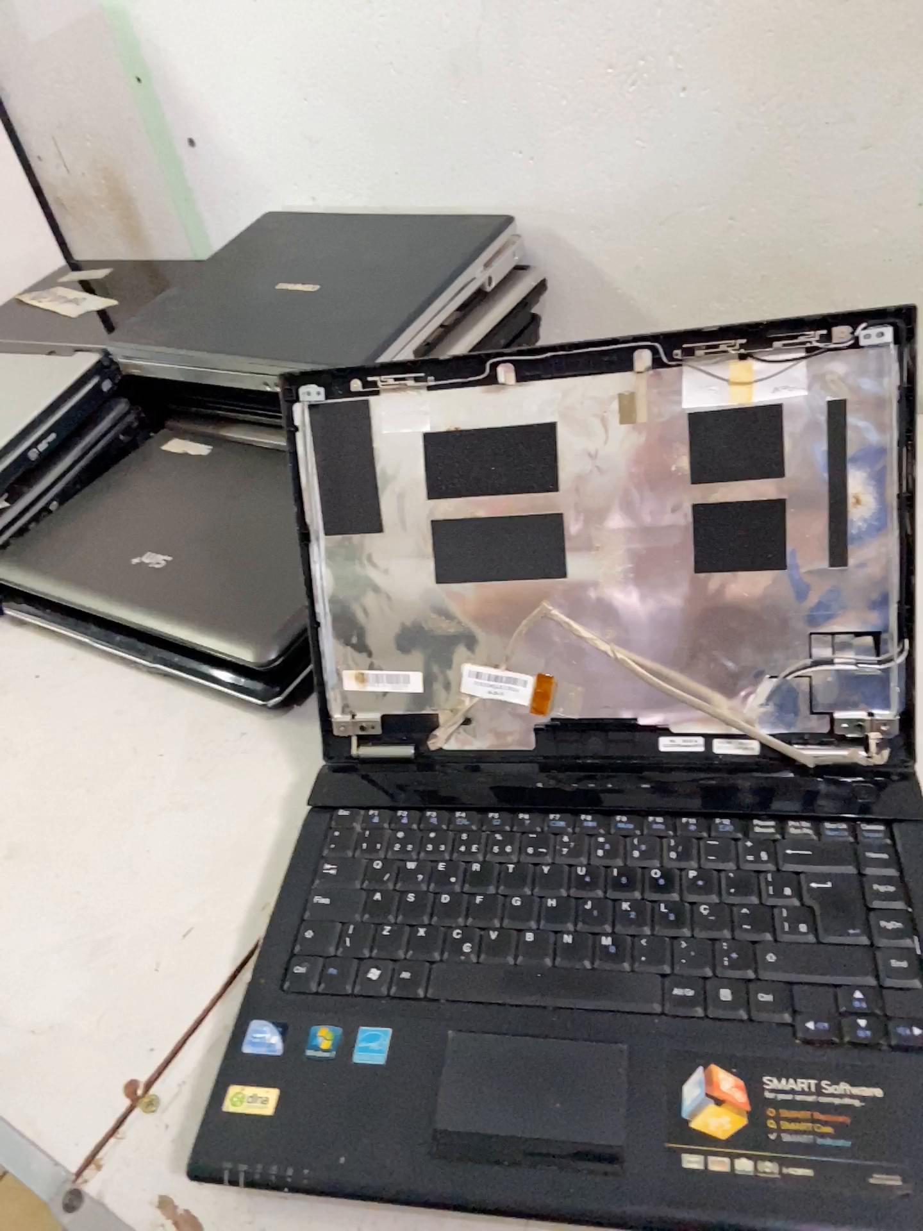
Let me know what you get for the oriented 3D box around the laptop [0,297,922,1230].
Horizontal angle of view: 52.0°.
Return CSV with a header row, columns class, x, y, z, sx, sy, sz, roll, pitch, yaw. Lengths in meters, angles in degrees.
class,x,y,z,sx,sy,sz,roll,pitch,yaw
laptop,0.050,0.047,0.432,0.333,0.206,0.337,-3,41,15
